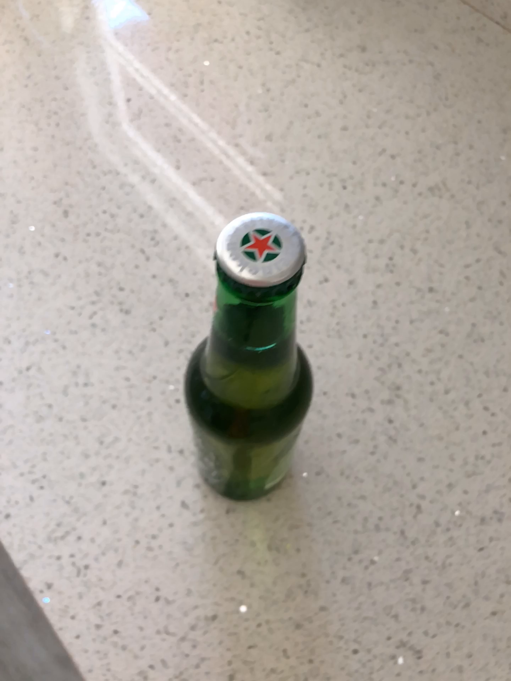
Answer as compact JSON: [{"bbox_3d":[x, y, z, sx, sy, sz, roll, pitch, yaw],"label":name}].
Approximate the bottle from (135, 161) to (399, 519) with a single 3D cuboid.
[{"bbox_3d":[-0.001,0.023,0.261,0.070,0.210,0.070,1,62,-1],"label":"bottle"}]
